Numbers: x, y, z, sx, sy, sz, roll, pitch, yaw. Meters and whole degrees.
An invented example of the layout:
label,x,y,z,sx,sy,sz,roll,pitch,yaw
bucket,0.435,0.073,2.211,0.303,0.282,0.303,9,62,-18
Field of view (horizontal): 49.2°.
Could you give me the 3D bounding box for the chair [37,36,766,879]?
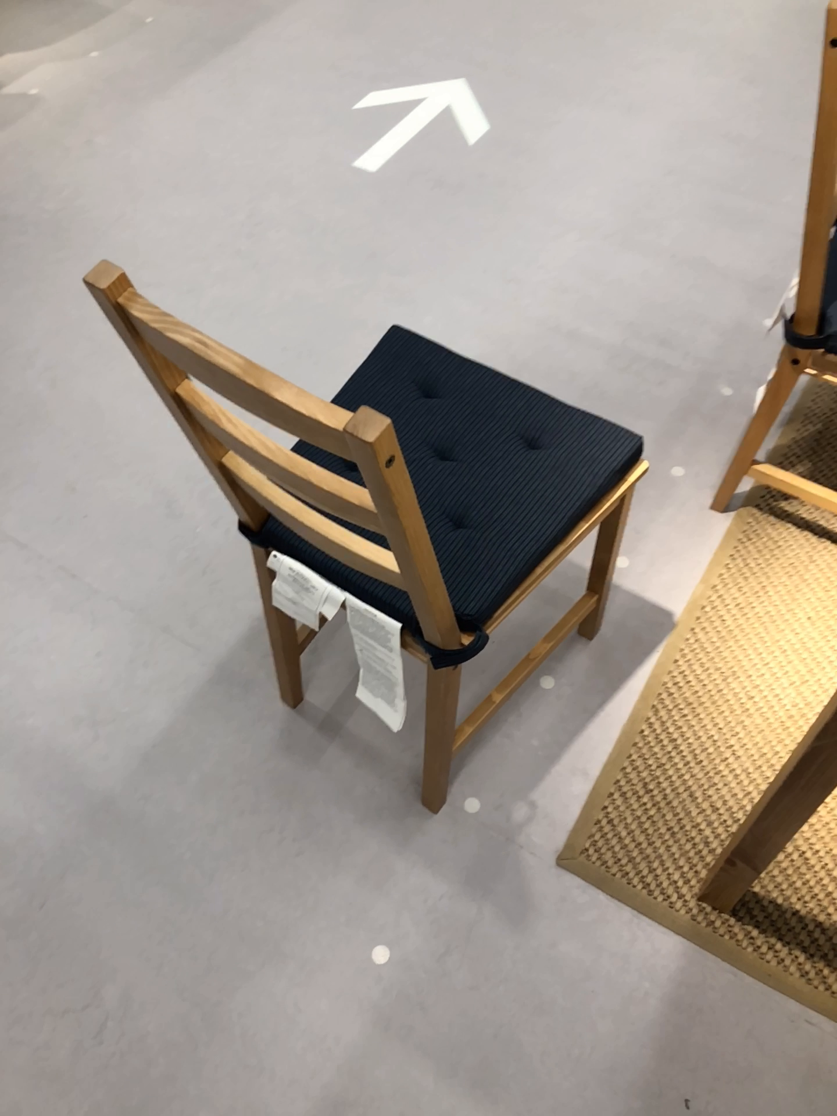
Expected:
label,x,y,z,sx,sy,sz,roll,pitch,yaw
chair,0.014,-0.059,1.180,0.441,0.865,0.521,29,60,21
